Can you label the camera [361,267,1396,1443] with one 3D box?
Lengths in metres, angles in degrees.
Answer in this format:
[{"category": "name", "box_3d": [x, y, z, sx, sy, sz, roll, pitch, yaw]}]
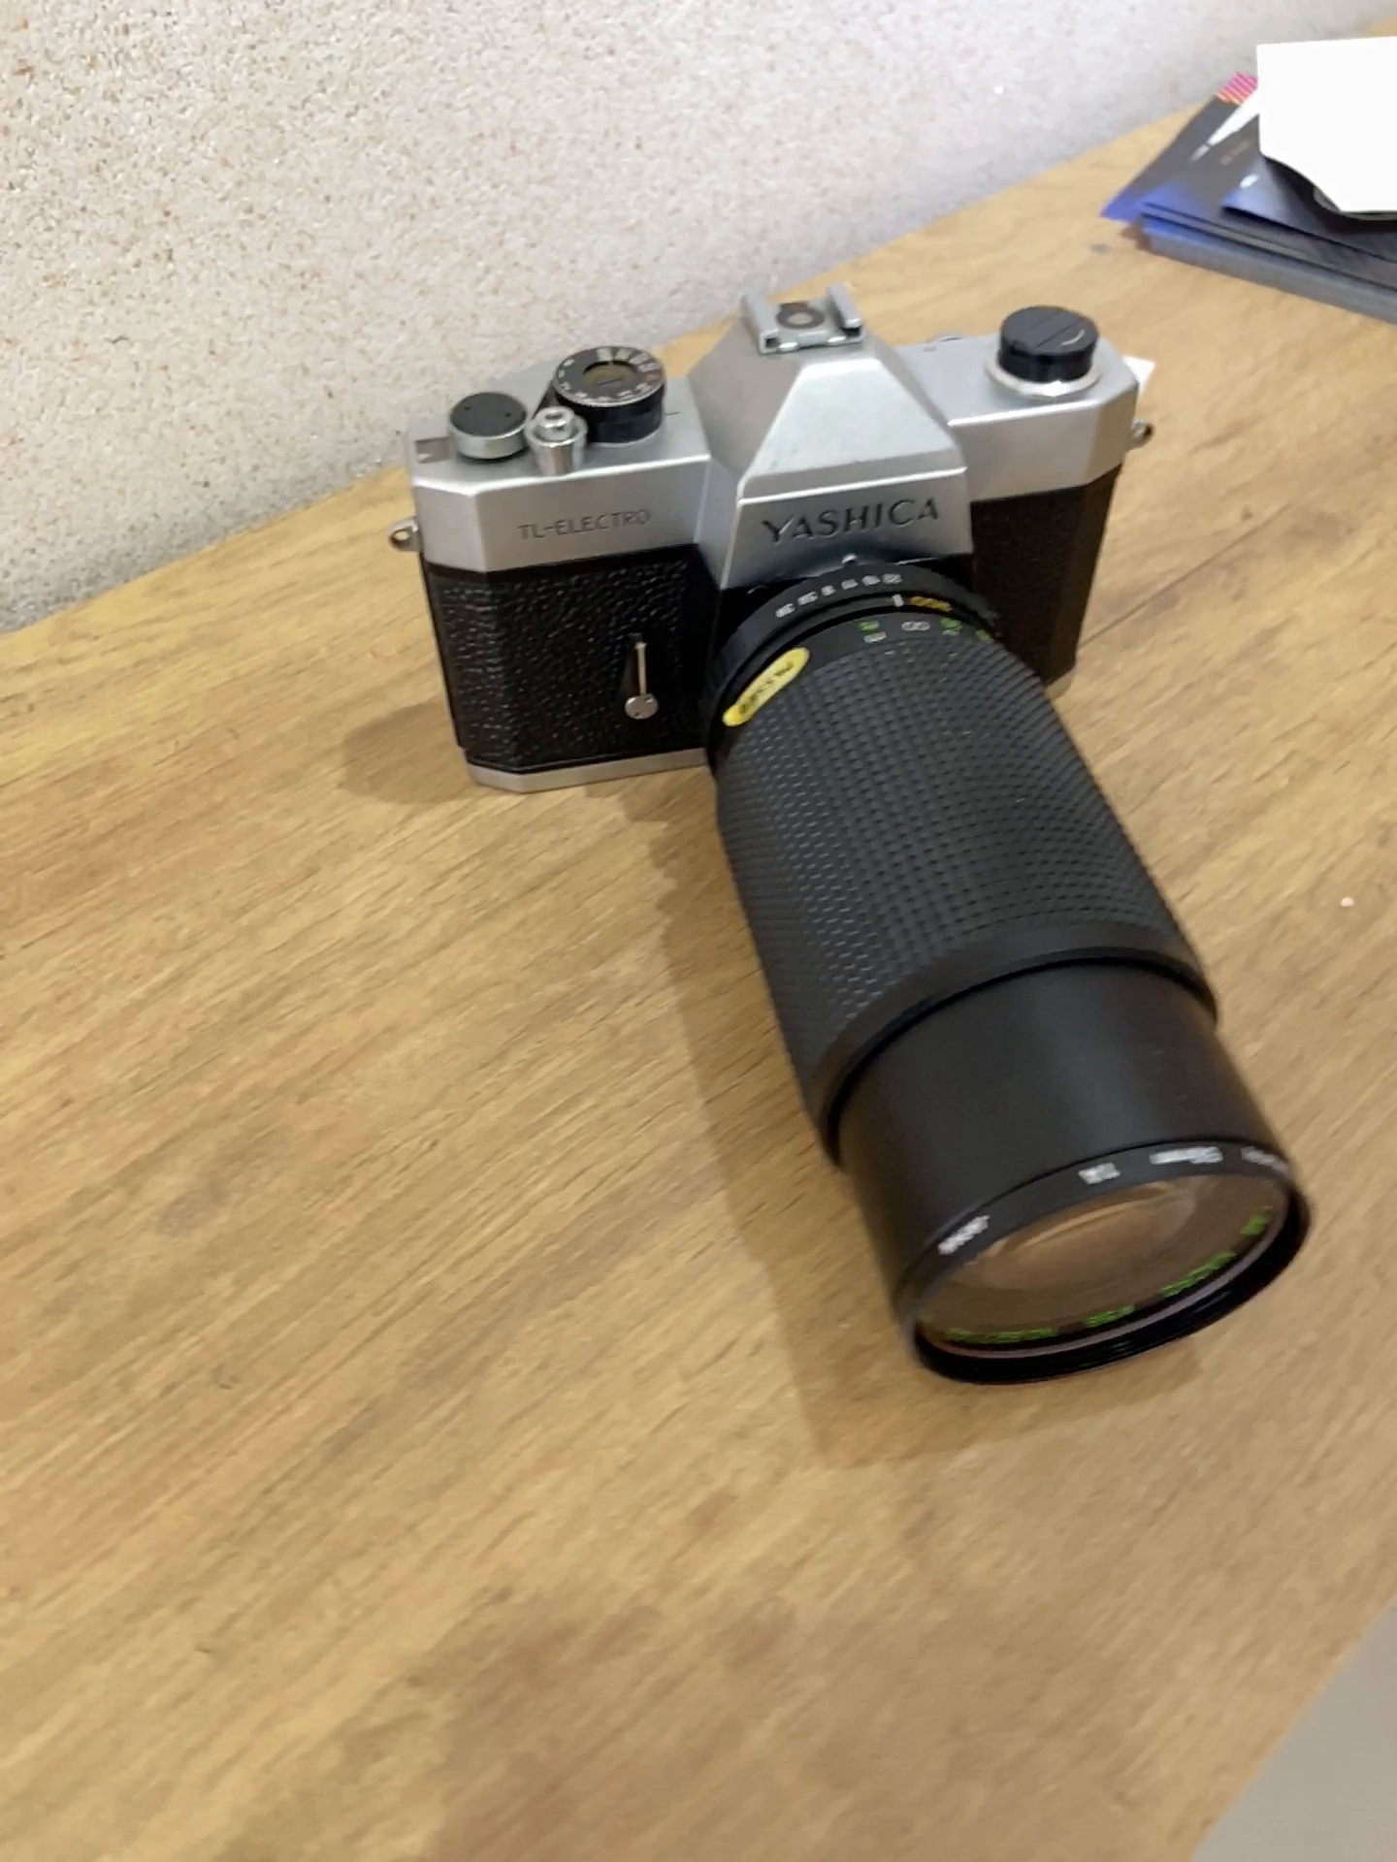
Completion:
[{"category": "camera", "box_3d": [0.024, -0.030, 0.267, 0.150, 0.080, 0.201, -7, 49, -3]}]
